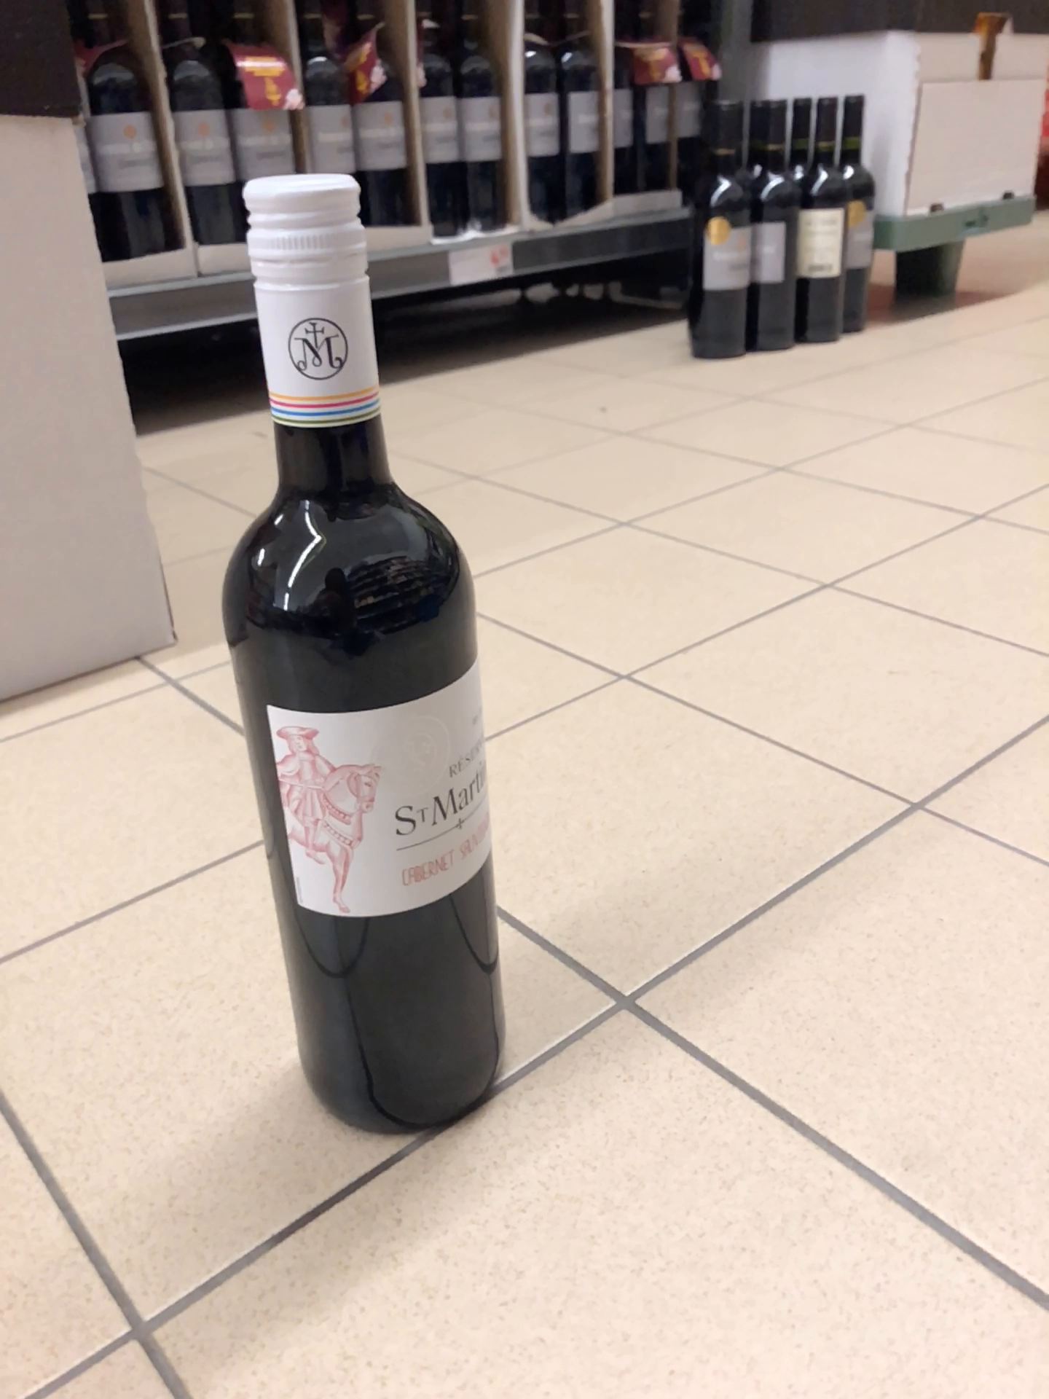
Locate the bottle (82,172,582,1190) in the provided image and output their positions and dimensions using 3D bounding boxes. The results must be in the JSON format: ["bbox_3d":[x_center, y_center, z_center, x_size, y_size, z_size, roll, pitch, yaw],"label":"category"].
[{"bbox_3d":[-0.045,-0.001,0.357,0.090,0.288,0.080,-24,34,-37],"label":"bottle"}]
